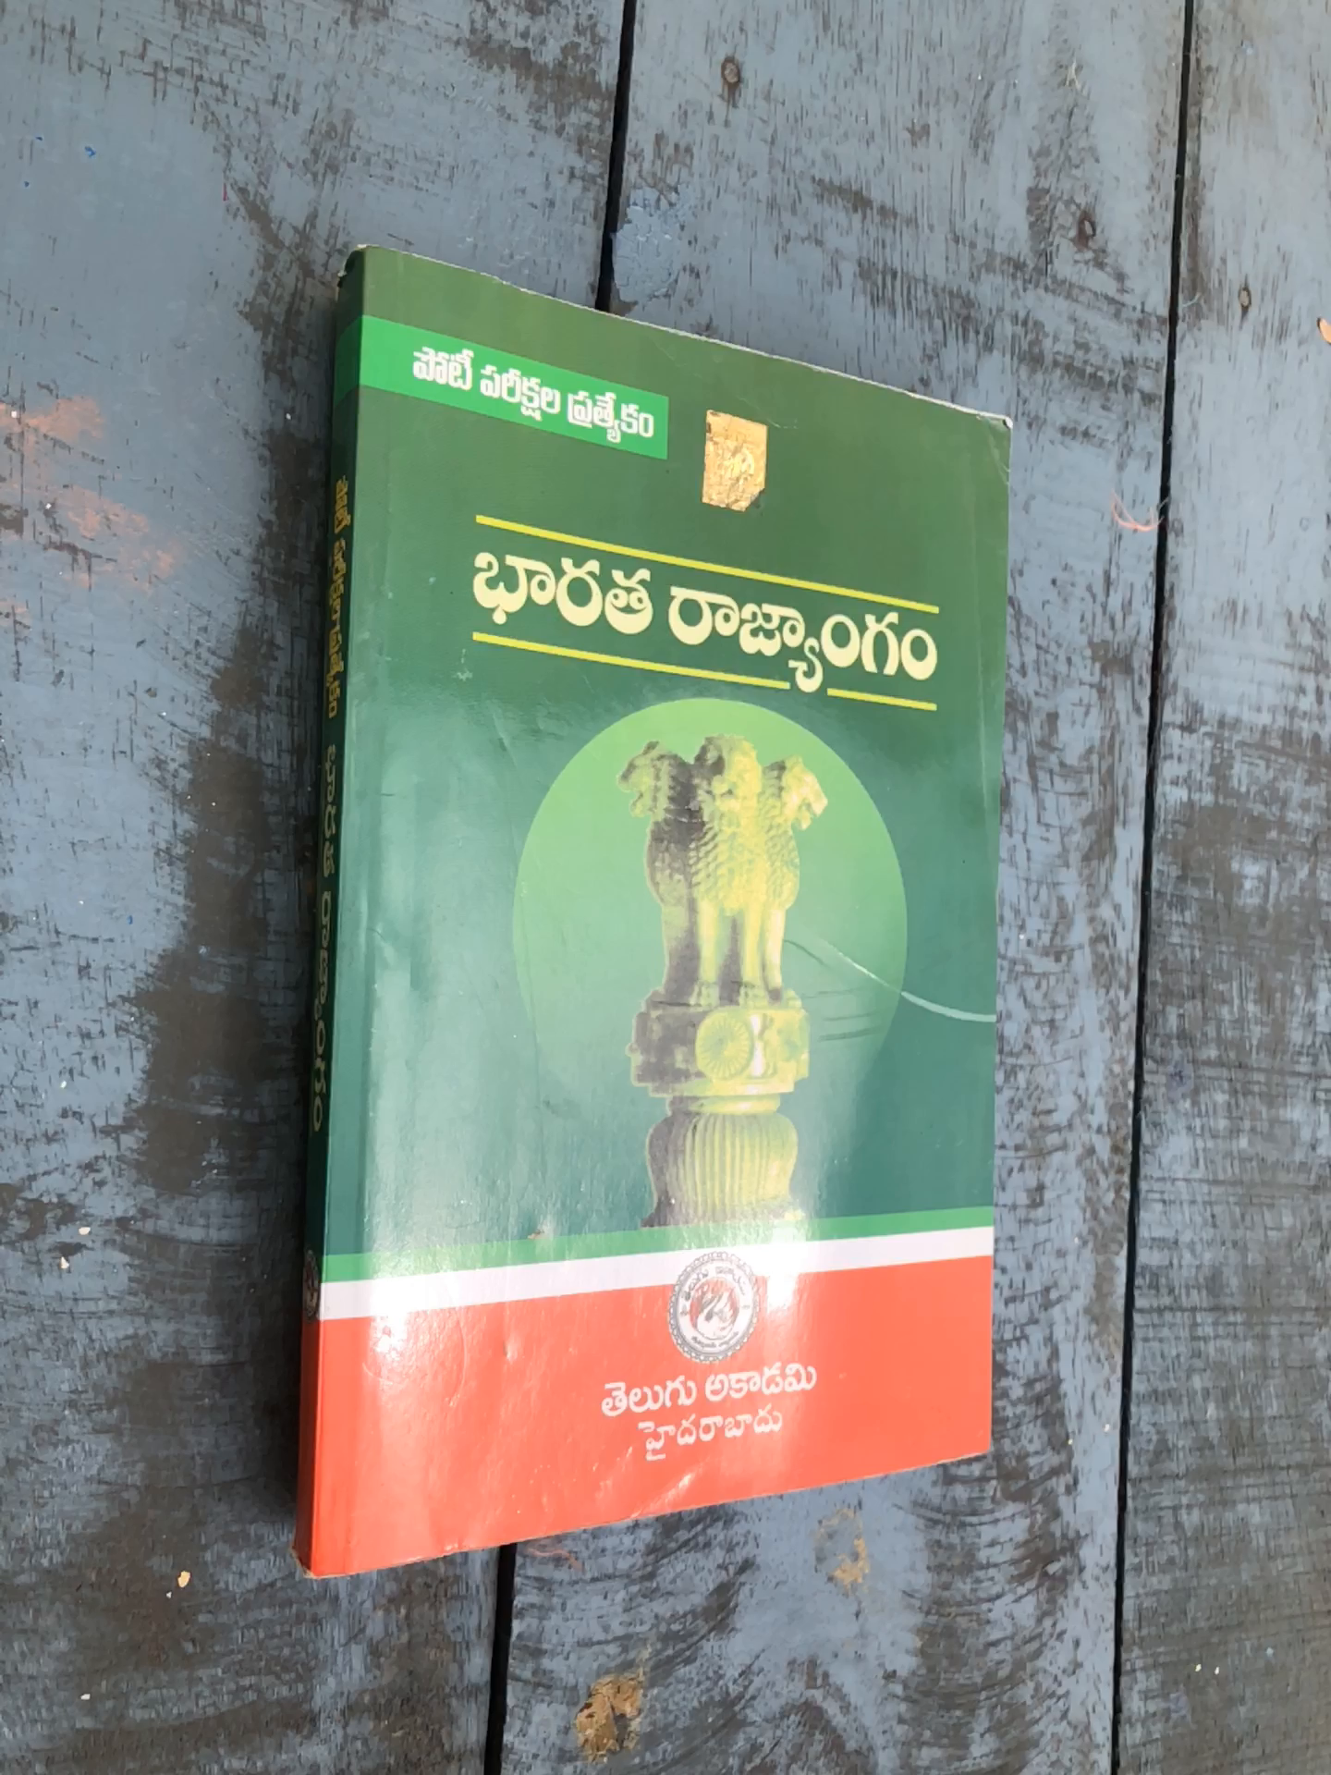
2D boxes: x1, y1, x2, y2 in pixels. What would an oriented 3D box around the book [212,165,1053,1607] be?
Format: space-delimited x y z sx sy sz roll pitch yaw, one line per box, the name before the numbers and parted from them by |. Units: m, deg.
book | 0.001 0.000 0.292 0.161 0.040 0.230 3 84 -30
